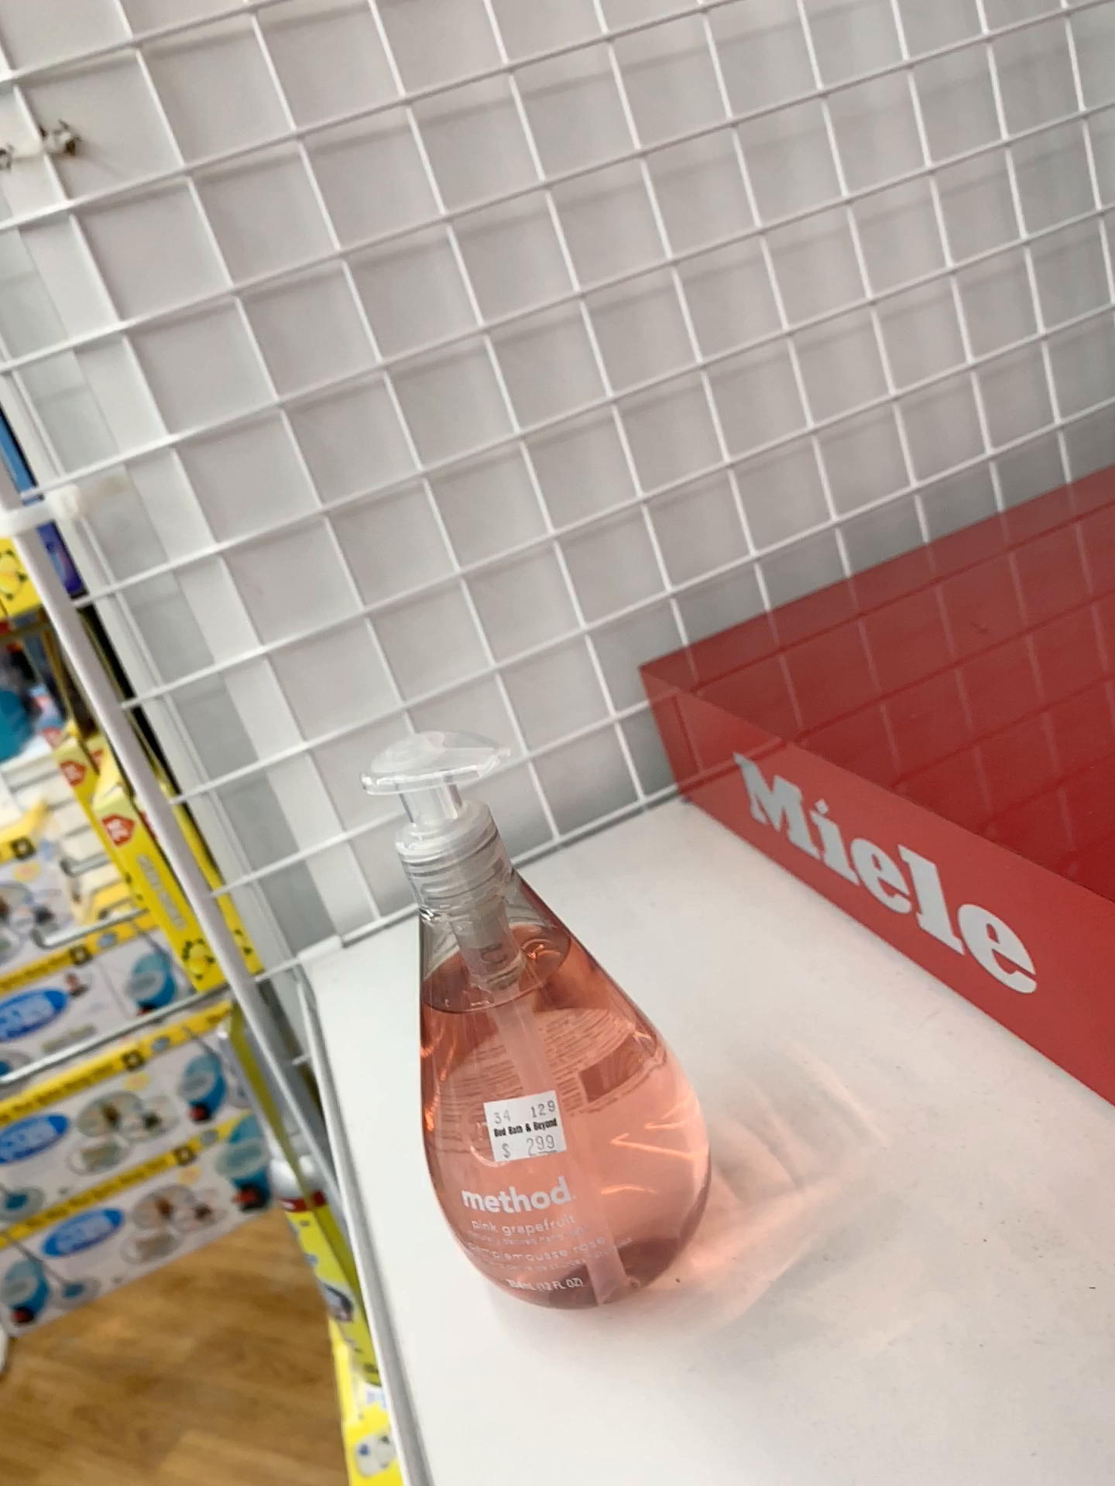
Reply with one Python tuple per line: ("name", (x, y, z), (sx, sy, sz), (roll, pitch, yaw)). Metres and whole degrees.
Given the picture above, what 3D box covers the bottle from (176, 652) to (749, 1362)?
("bottle", (-0.014, 0.072, 0.308), (0.080, 0.160, 0.078), (-18, 18, 6))
